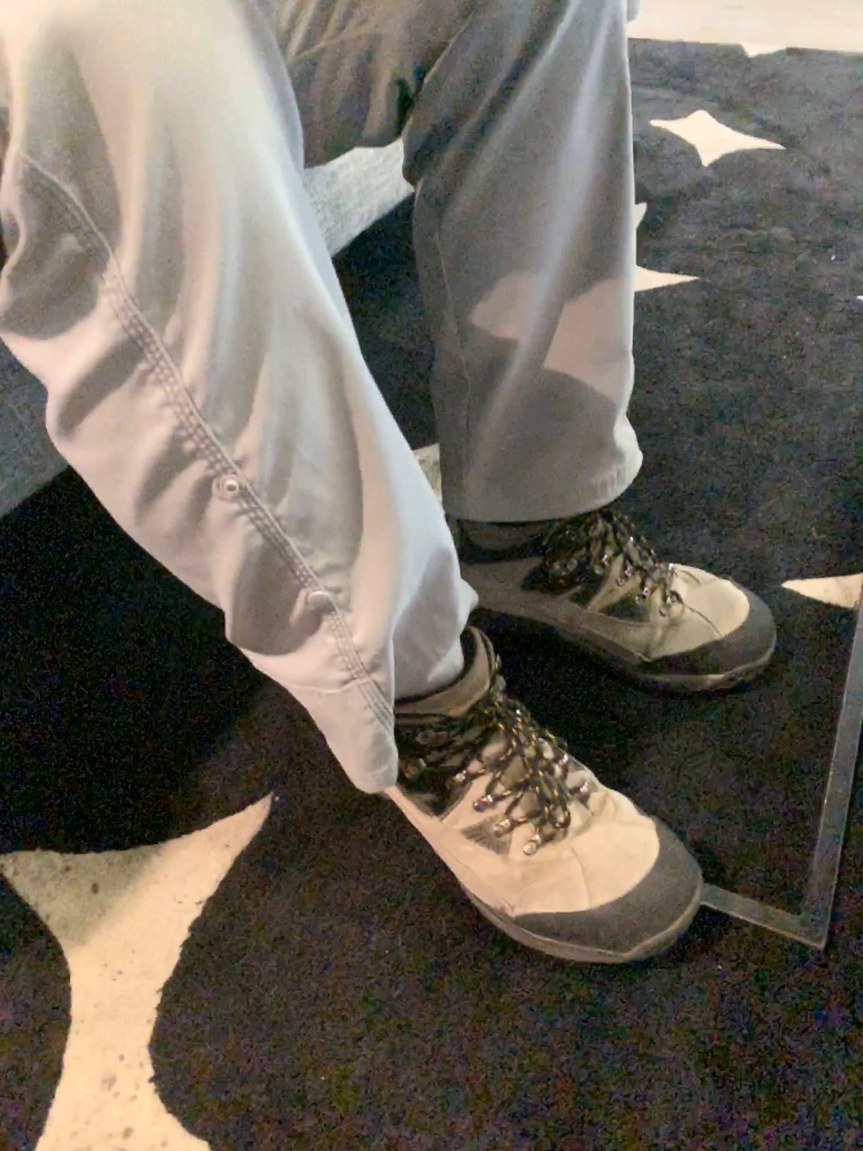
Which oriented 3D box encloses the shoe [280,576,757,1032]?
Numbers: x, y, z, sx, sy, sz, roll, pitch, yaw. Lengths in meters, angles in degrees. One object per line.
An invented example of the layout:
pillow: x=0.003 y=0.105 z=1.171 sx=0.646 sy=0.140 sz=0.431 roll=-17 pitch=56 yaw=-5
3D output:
shoe: x=0.045 y=0.137 z=0.588 sx=0.285 sy=0.090 sz=0.124 roll=35 pitch=57 yaw=27

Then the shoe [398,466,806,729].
shoe: x=0.137 y=0.009 z=0.745 sx=0.304 sy=0.080 sz=0.122 roll=17 pitch=49 yaw=20
